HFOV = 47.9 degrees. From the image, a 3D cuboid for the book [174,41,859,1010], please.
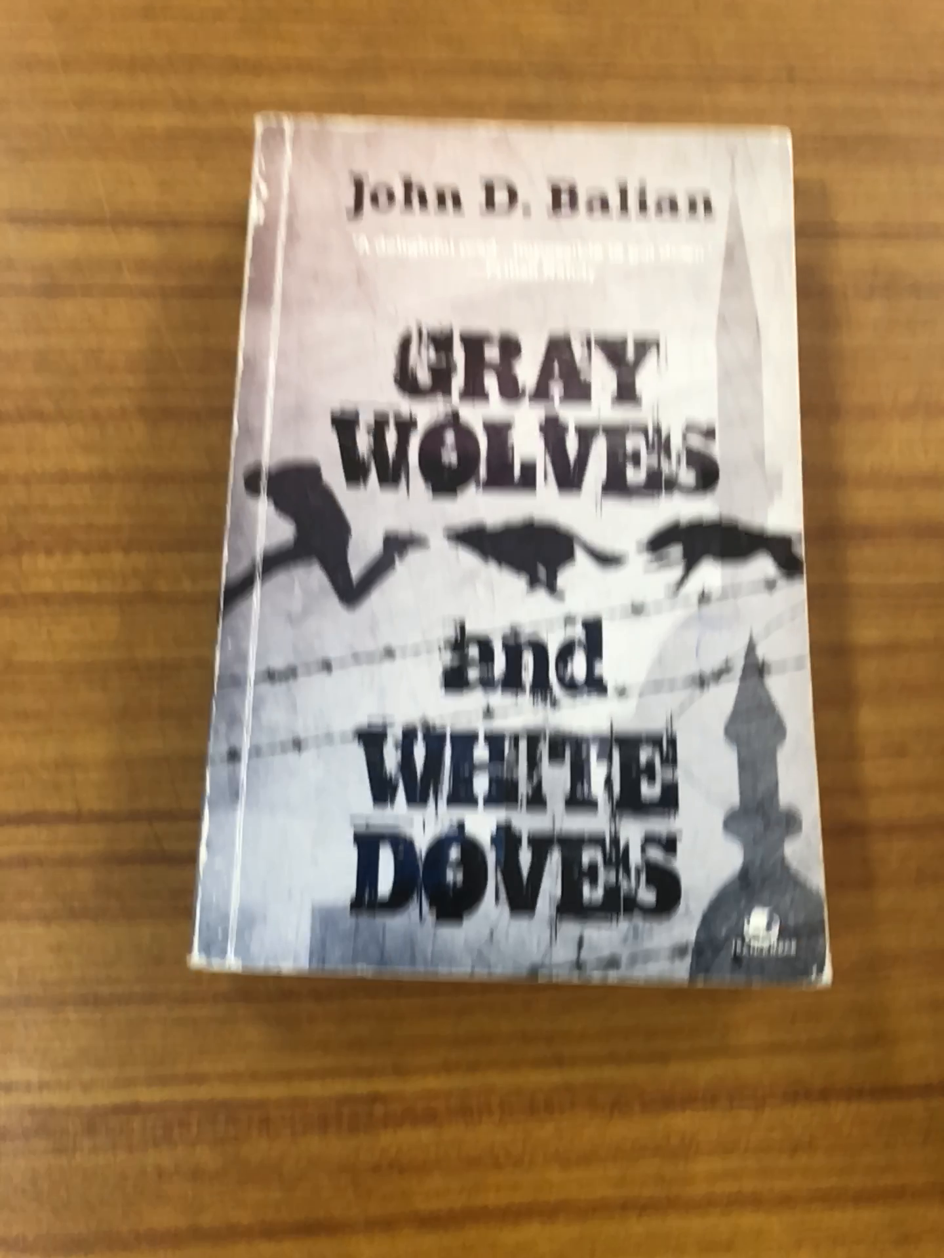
[{"bbox_3d":[0.012,-0.029,0.239,0.130,0.030,0.210,2,78,1],"label":"book"}]
